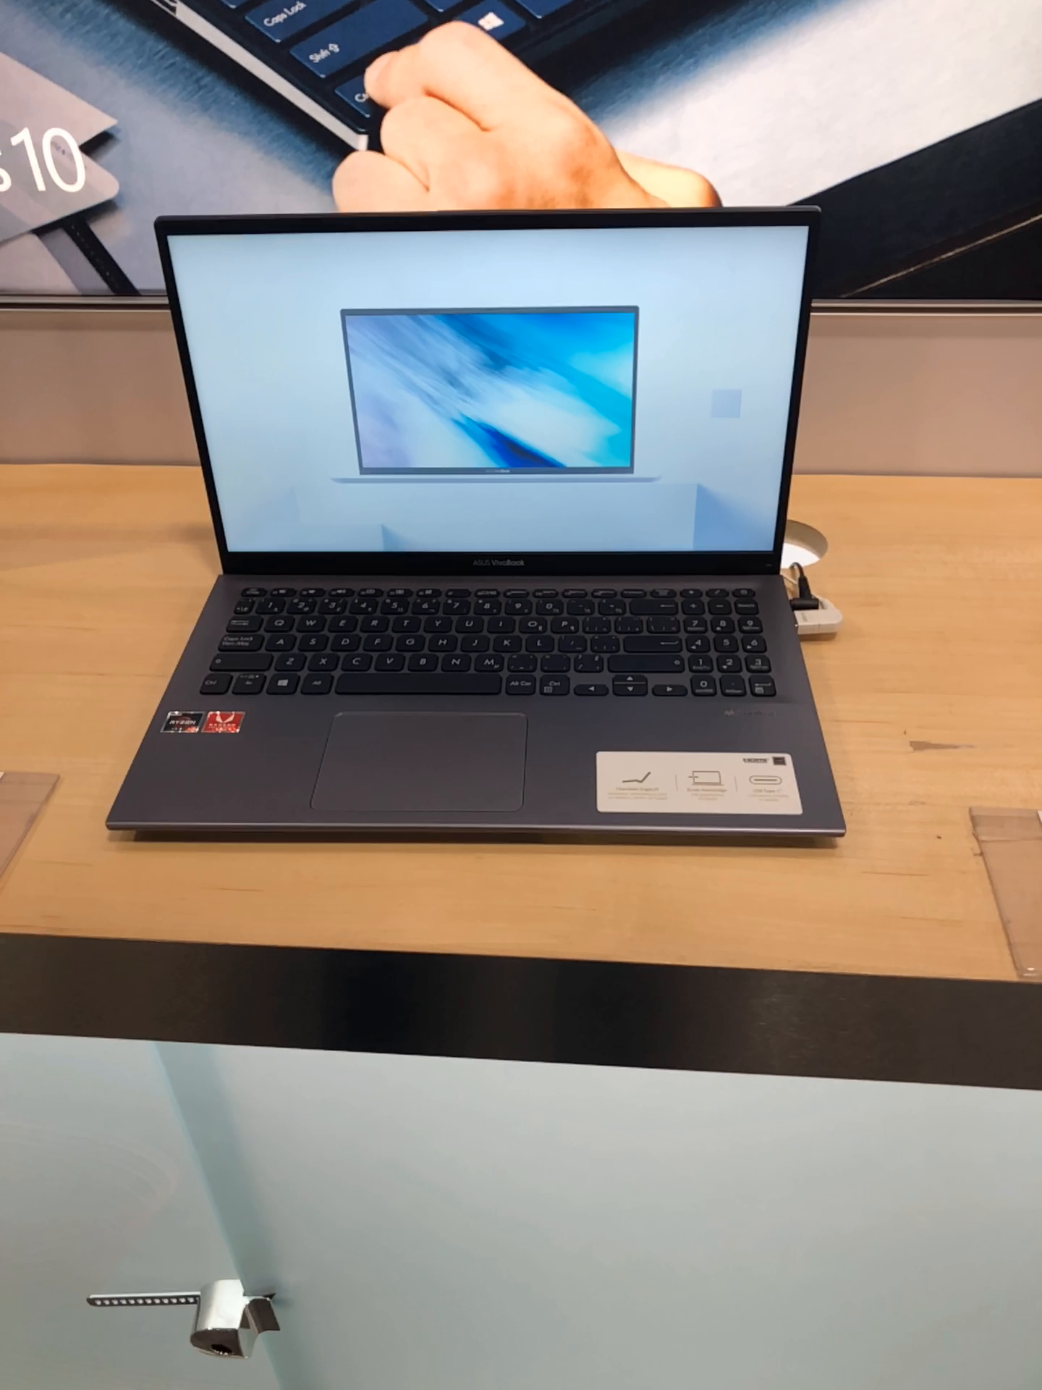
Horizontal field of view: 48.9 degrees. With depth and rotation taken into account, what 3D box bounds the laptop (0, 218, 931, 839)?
[{"bbox_3d":[-0.022,-0.093,0.572,0.349,0.211,0.243,1,38,4],"label":"laptop"}]
